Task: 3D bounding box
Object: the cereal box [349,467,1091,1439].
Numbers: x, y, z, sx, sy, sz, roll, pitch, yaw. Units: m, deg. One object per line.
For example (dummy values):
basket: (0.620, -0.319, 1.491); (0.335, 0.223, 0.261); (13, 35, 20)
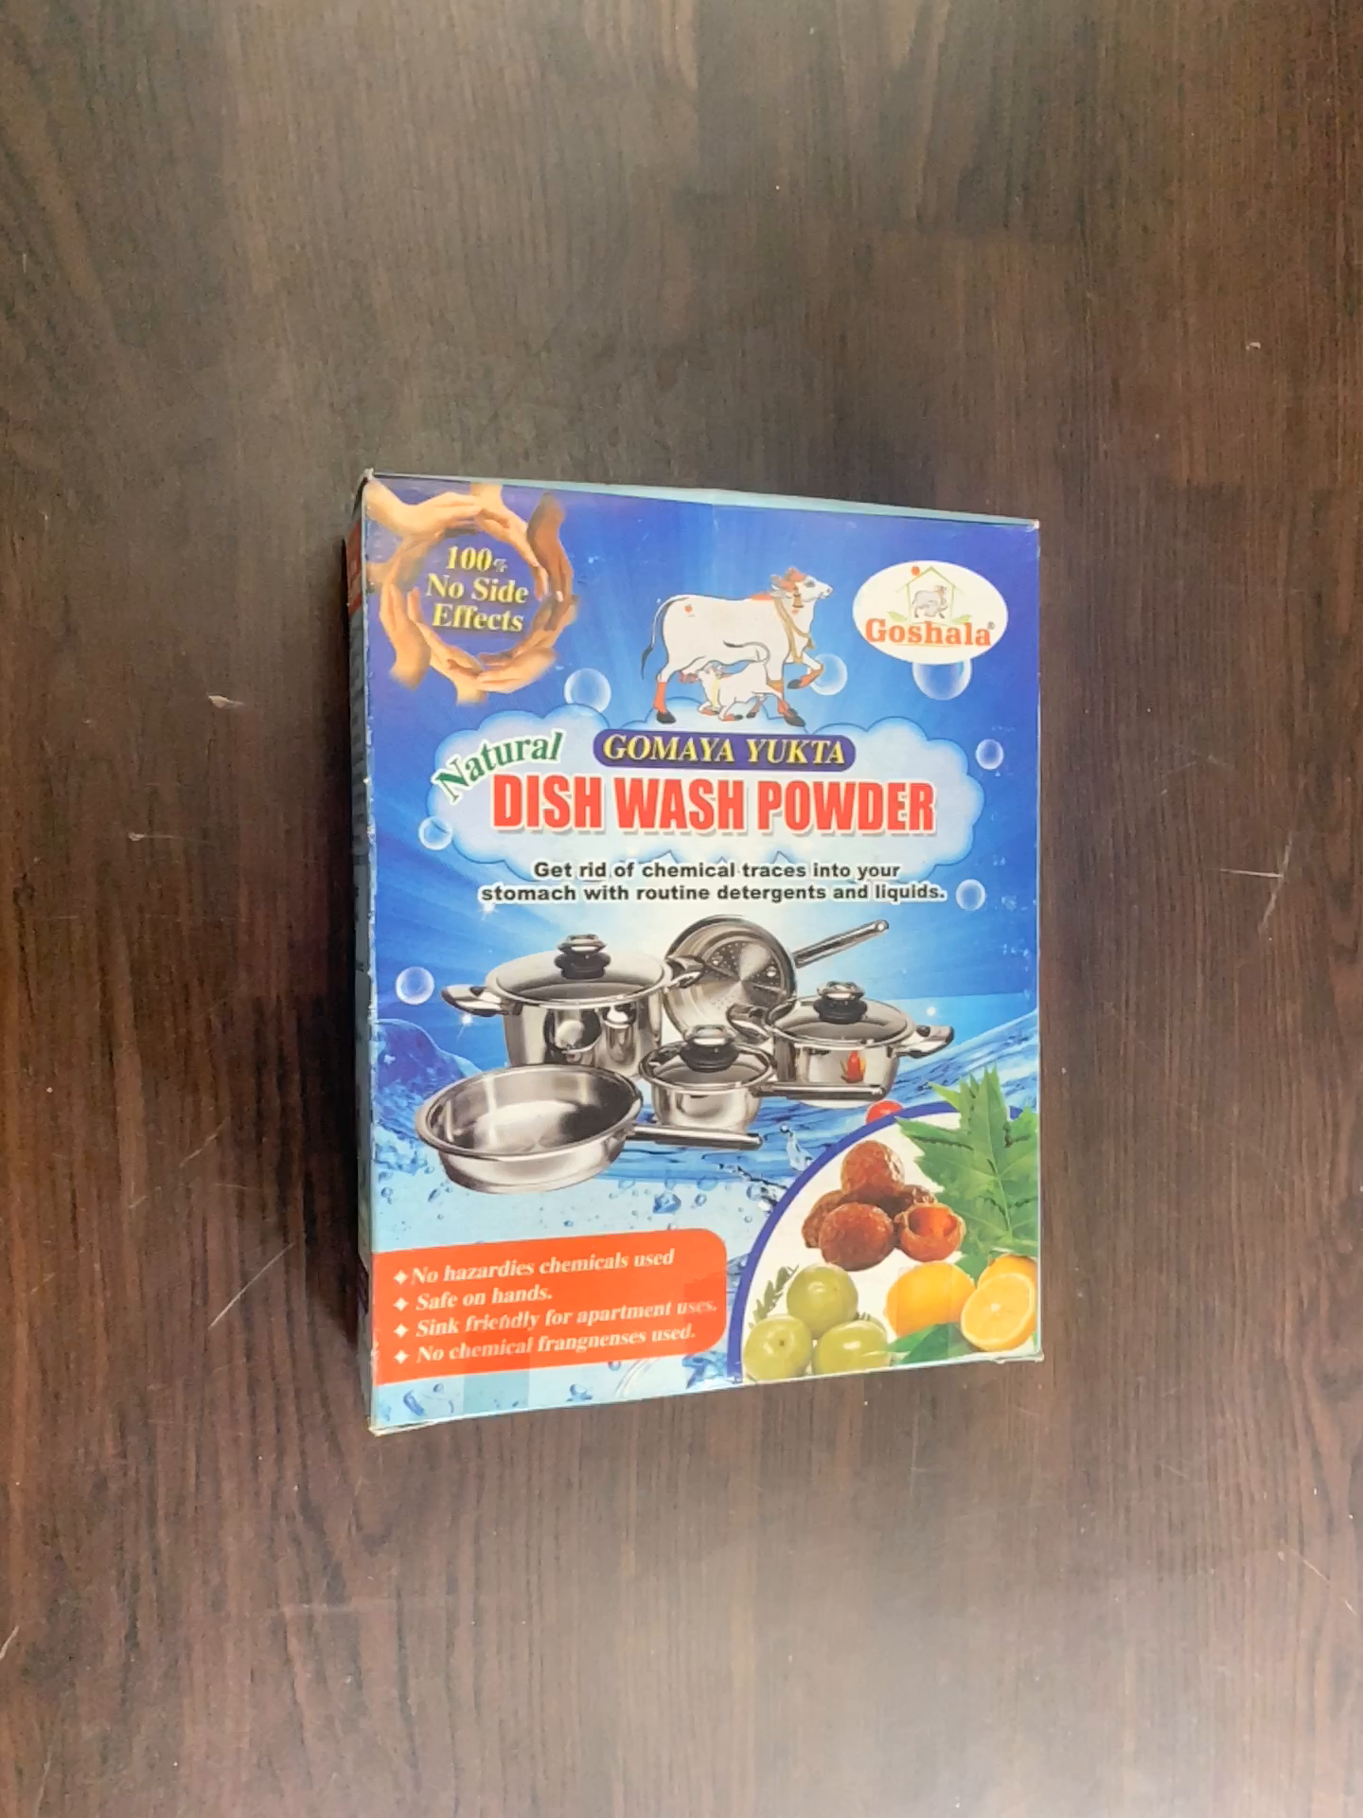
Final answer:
cereal box: (0.005, 0.007, 0.294); (0.140, 0.060, 0.170); (-1, 89, -15)
